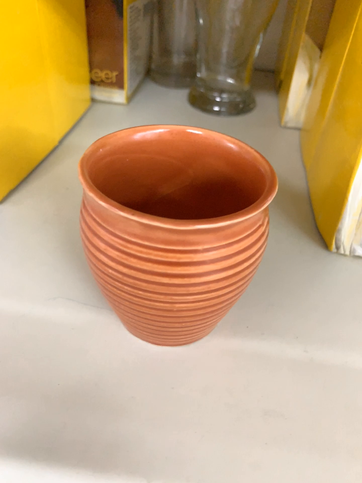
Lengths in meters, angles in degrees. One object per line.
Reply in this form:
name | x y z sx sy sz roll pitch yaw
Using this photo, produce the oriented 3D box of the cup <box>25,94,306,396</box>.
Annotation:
cup | -0.006 -0.003 0.138 0.060 0.069 0.060 3 40 -3
